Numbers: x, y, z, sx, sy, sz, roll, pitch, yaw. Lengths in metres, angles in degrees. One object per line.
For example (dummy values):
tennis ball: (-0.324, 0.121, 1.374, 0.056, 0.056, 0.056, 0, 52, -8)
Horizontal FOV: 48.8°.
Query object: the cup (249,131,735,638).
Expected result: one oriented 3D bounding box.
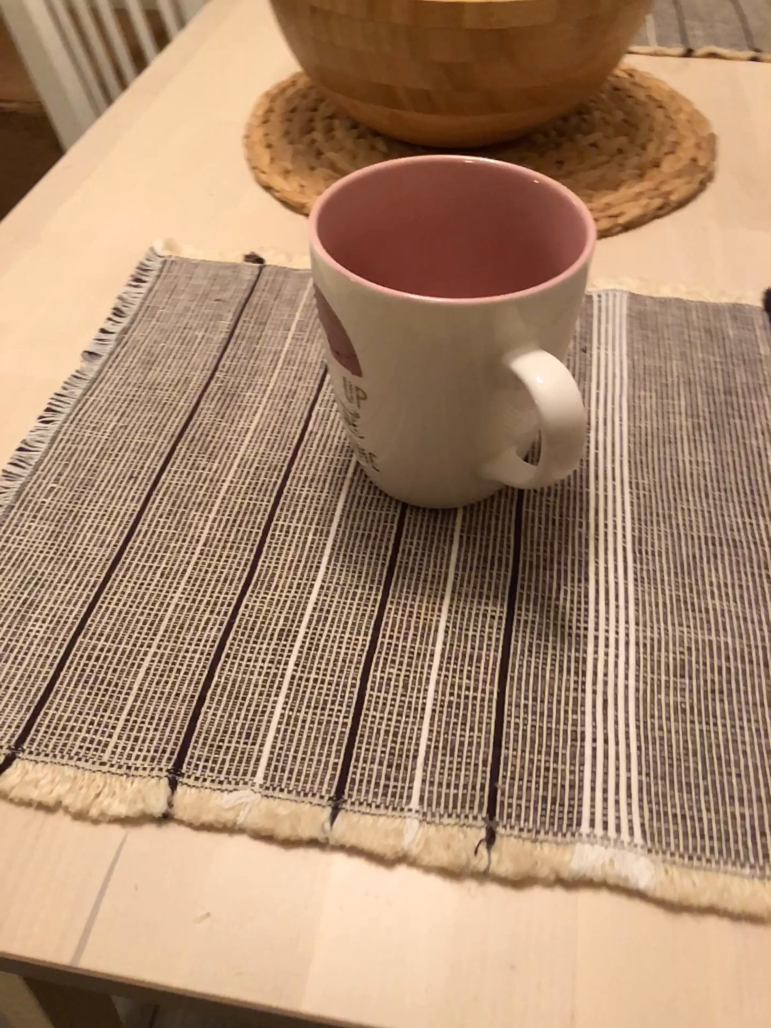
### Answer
cup: (0.031, -0.063, 0.365, 0.120, 0.119, 0.161, -18, 49, -16)
